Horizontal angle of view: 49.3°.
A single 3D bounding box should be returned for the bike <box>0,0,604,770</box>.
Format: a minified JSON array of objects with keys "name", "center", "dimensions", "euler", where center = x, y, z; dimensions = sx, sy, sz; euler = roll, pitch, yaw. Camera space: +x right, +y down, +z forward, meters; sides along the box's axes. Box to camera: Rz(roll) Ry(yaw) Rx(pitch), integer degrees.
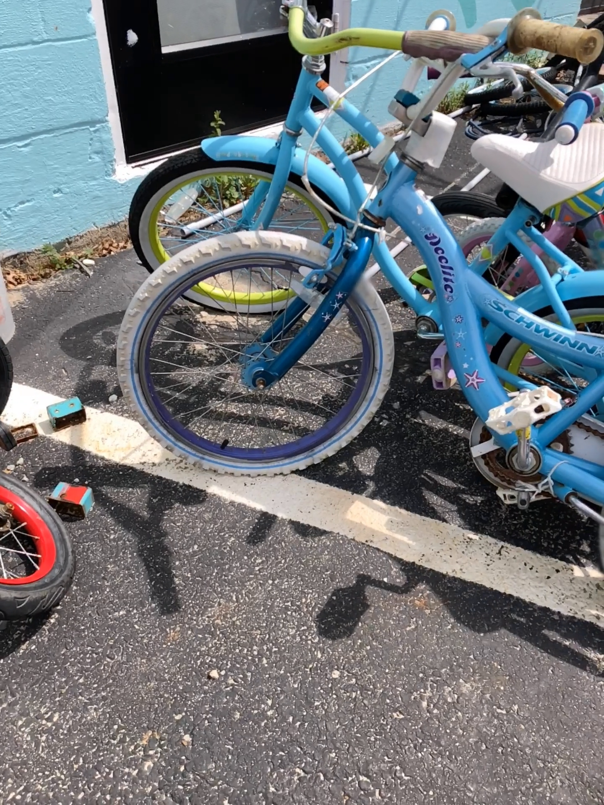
[{"name":"bike","center":[0.398,-0.185,0.943],"dimensions":[1.265,0.776,0.559],"euler":[20,42,12]}]
